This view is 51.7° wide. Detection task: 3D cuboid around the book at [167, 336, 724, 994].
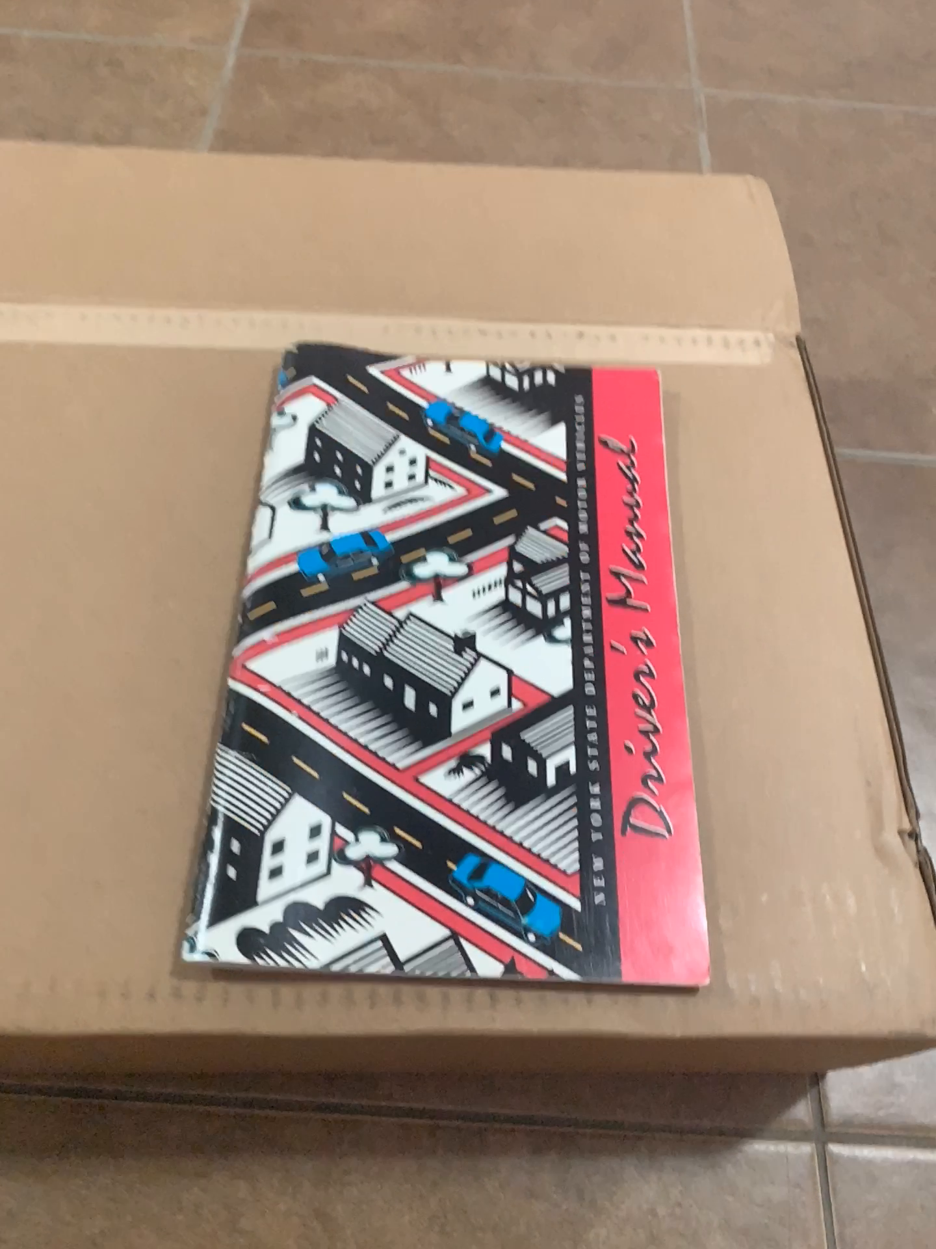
[{"bbox_3d":[-0.002,-0.003,0.288,0.133,0.013,0.207,3,60,-2],"label":"book"}]
